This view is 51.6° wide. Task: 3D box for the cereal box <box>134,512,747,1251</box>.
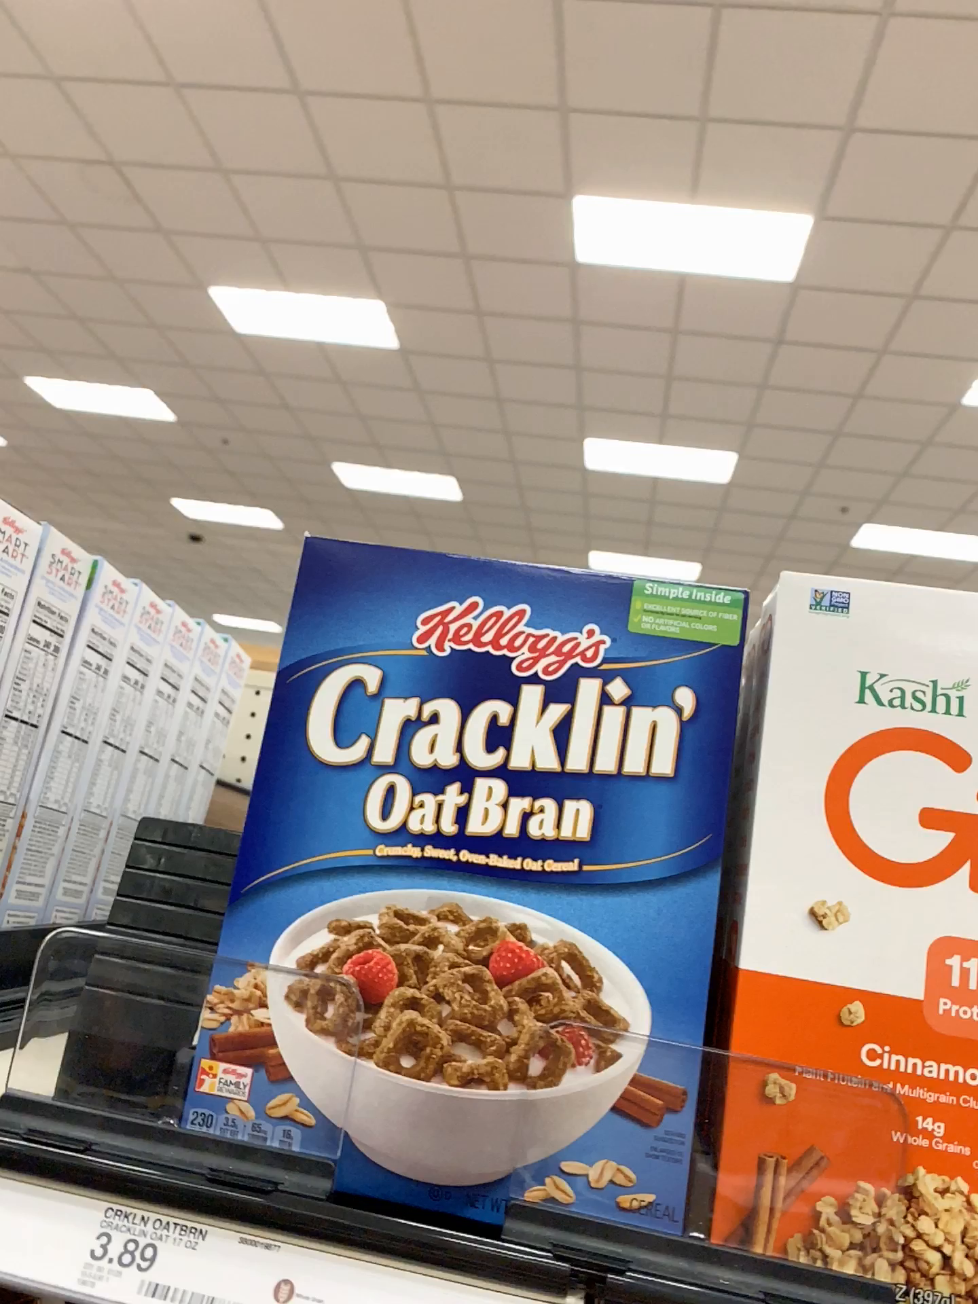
[{"bbox_3d":[-0.012,0.079,0.402,0.190,0.241,0.050,9,-12,4],"label":"cereal box"}]
